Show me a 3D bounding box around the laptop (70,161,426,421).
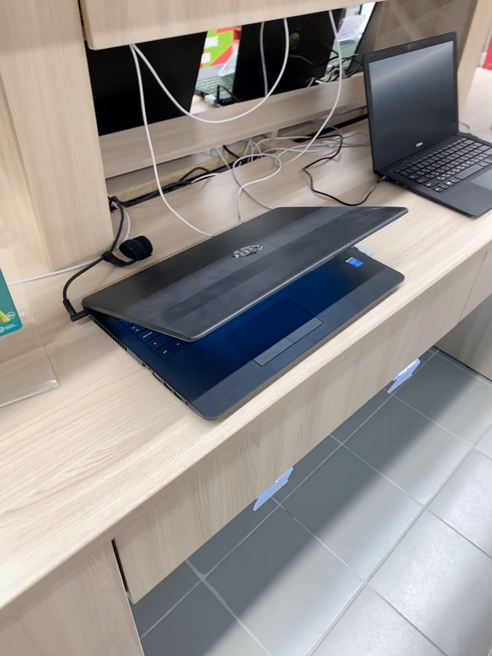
[{"bbox_3d":[0.014,-0.084,0.650,0.373,0.093,0.252,-32,52,-34],"label":"laptop"}]
